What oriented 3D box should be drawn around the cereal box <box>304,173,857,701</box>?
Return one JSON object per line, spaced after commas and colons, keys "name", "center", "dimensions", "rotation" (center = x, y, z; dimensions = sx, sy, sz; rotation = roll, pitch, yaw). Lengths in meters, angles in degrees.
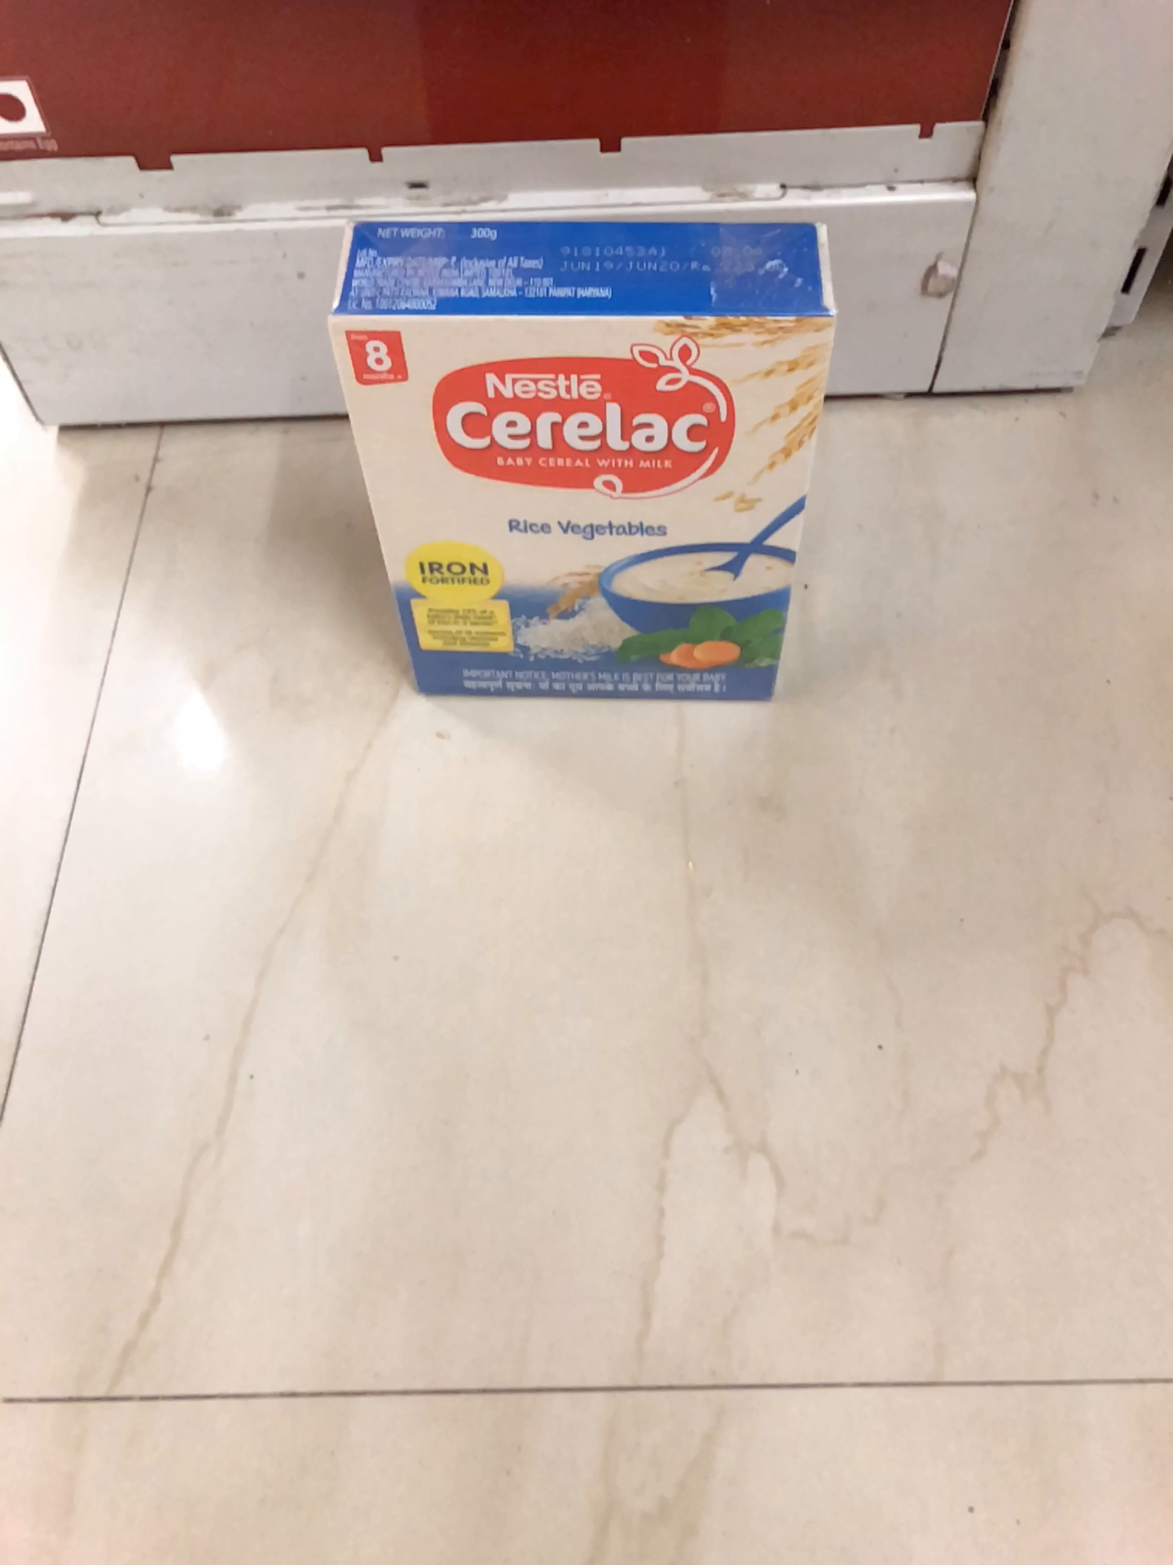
{"name": "cereal box", "center": [0.001, -0.112, 0.476], "dimensions": [0.160, 0.199, 0.060], "rotation": [0, 58, 1]}
